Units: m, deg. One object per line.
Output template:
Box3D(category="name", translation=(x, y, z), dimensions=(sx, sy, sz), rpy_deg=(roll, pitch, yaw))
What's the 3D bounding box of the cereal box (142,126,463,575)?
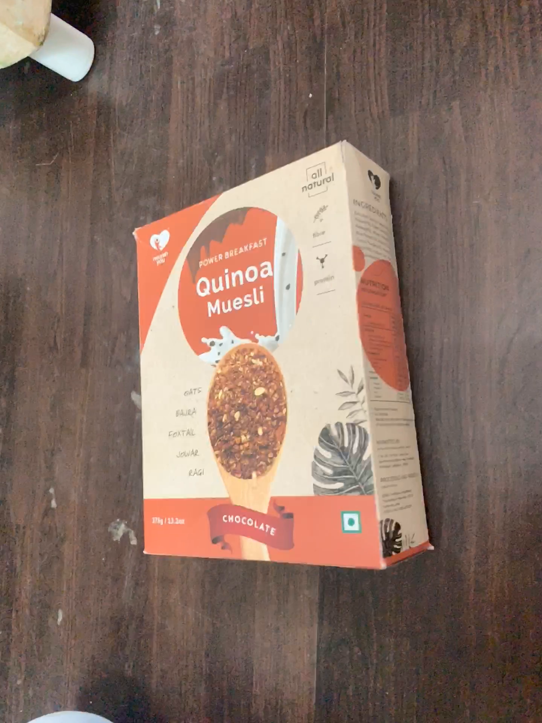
Box3D(category="cereal box", translation=(0.007, 0.004, 0.333), dimensions=(0.171, 0.070, 0.210), rpy_deg=(-10, 77, 36))
